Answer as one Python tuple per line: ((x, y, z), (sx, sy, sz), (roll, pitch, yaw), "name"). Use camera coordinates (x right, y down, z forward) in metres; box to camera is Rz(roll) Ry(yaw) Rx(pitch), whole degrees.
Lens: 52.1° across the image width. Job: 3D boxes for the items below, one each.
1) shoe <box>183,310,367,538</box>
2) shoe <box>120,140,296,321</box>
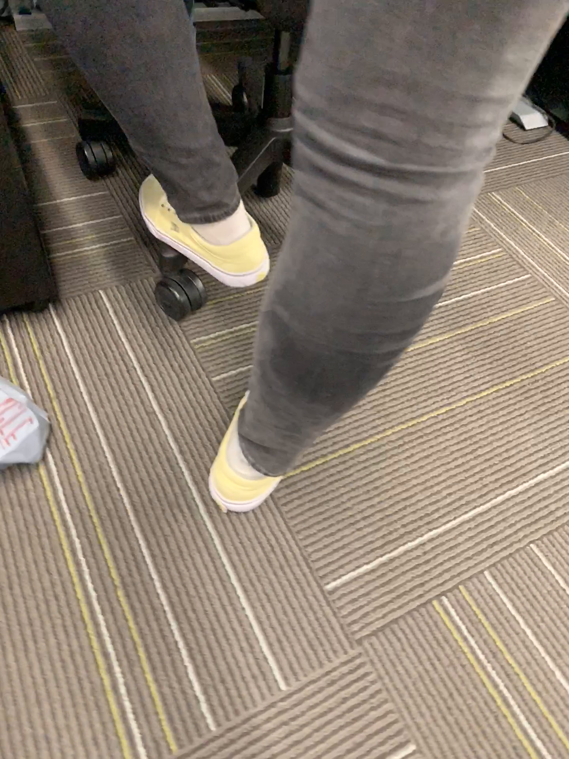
((-0.006, 0.046, 0.740), (0.102, 0.101, 0.269), (27, 53, 13), "shoe")
((-0.110, -0.212, 0.802), (0.098, 0.096, 0.260), (-30, 61, -28), "shoe")
